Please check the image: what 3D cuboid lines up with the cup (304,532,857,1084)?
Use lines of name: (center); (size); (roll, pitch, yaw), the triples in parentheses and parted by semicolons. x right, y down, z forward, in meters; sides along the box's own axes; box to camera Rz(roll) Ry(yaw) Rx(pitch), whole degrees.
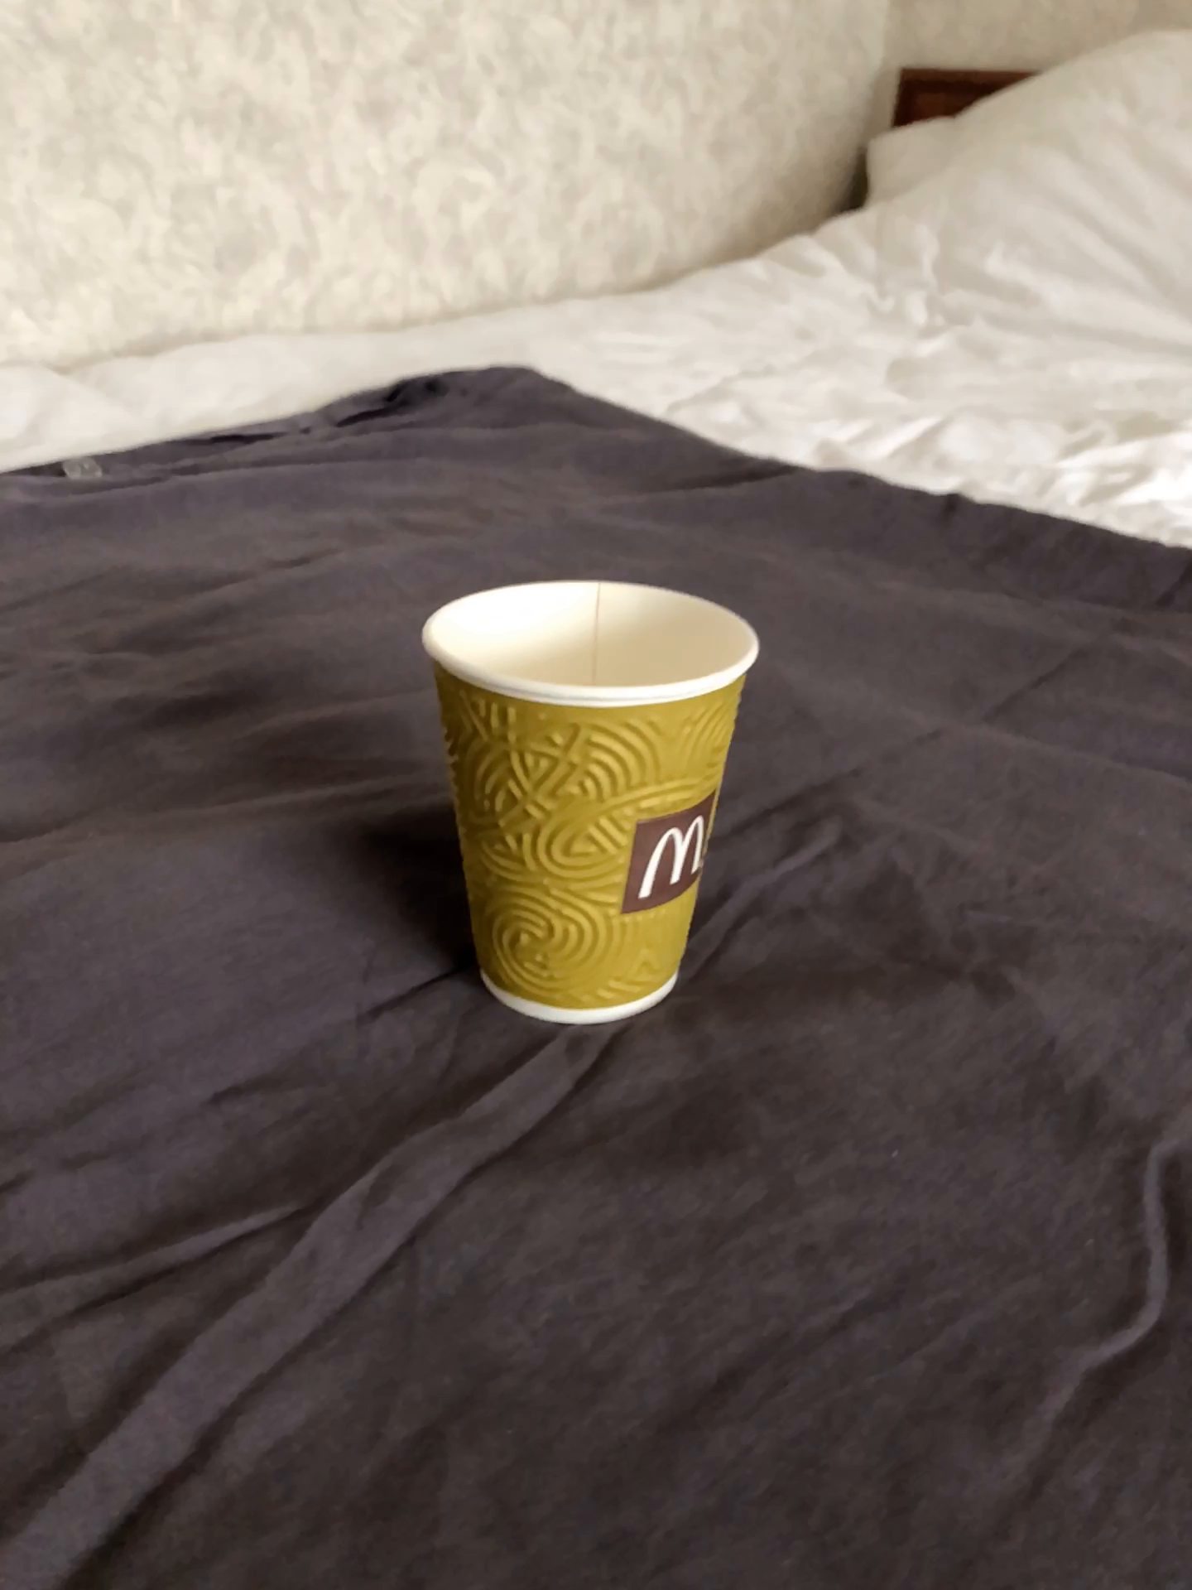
cup: (-0.007, -0.006, 0.365); (0.107, 0.101, 0.099); (1, 25, -1)
